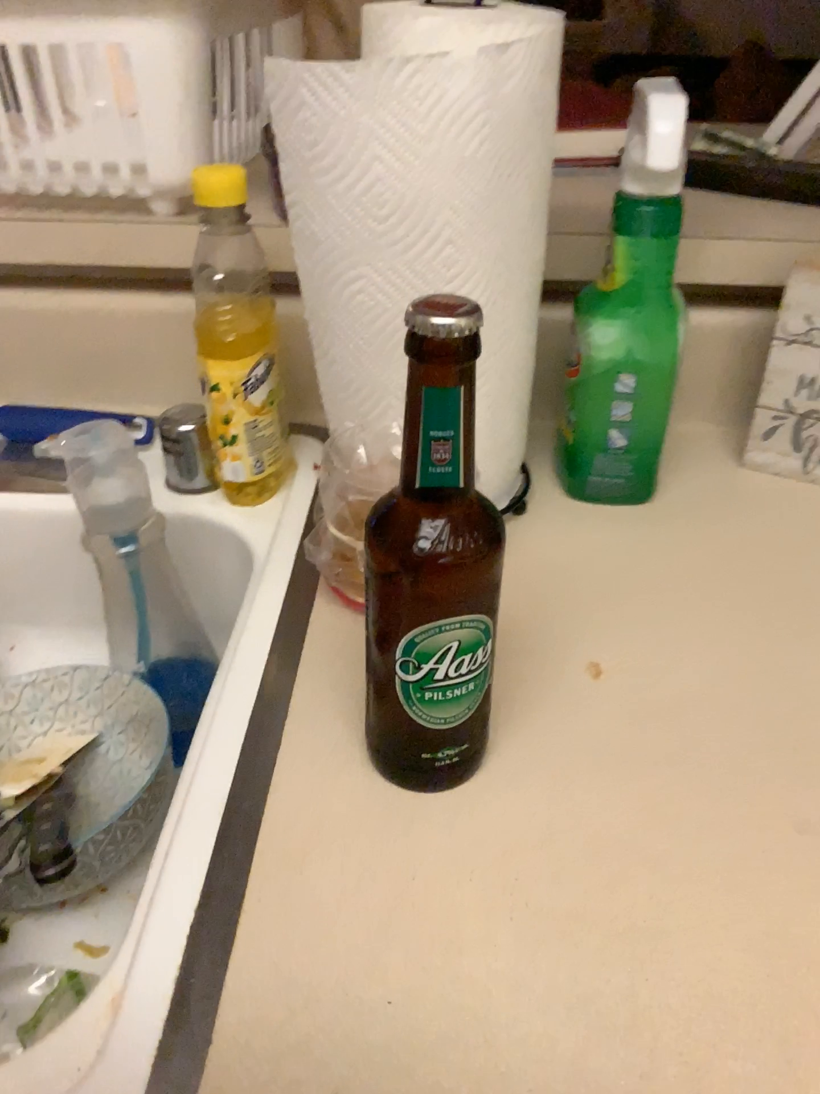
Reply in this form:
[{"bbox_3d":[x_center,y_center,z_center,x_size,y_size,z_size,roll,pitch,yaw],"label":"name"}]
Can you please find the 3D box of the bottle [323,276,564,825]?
[{"bbox_3d":[0.009,0.011,0.388,0.070,0.230,0.060,-9,35,-14],"label":"bottle"}]
